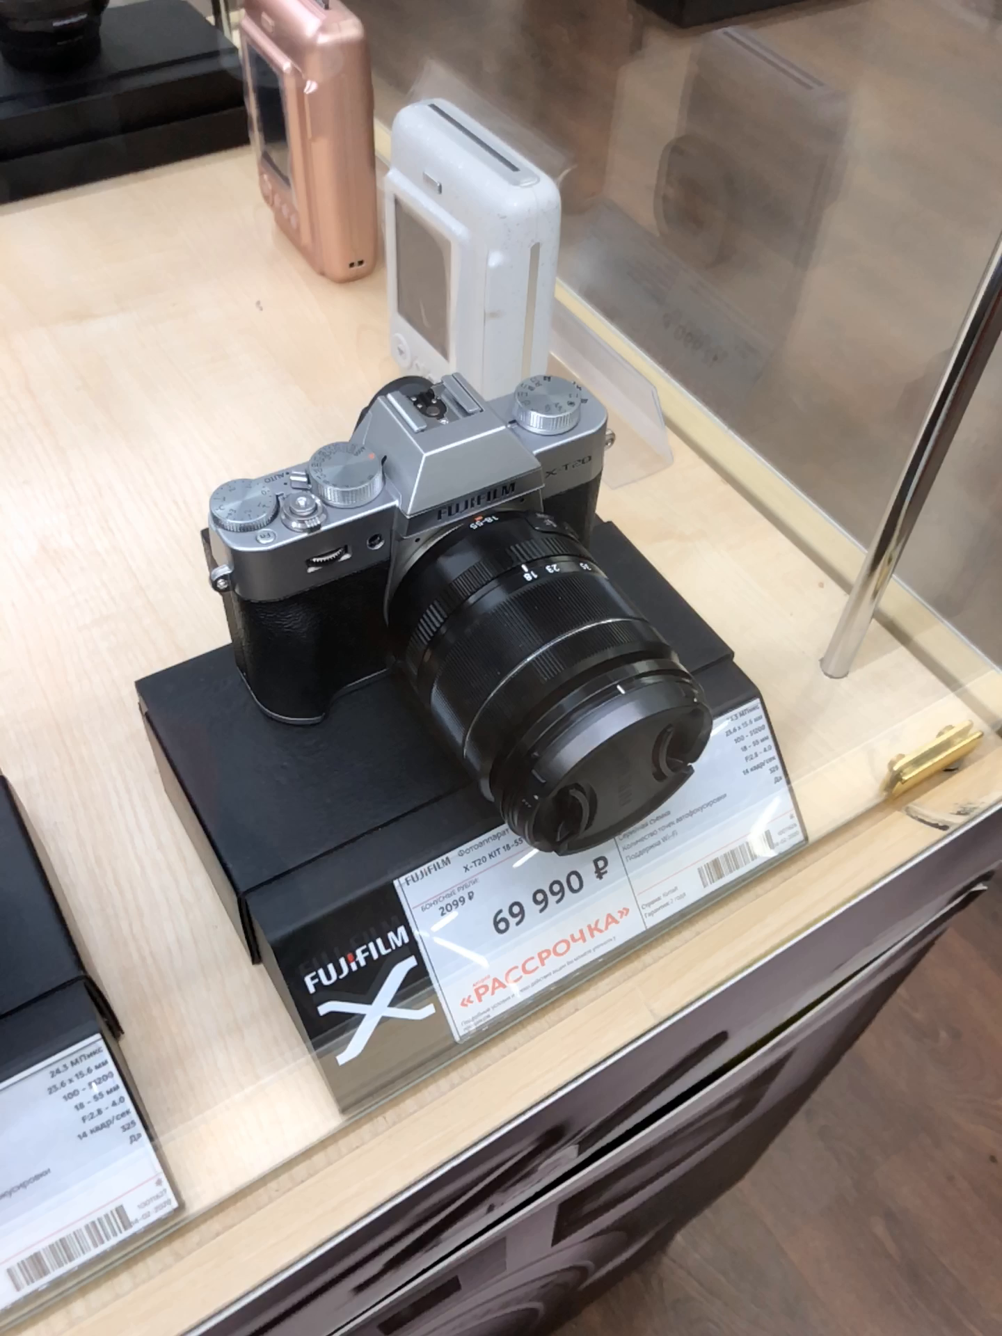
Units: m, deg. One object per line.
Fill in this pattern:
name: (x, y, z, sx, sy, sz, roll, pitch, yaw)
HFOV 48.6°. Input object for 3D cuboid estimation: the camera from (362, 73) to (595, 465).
camera: (-0.013, -0.157, 0.442, 0.039, 0.110, 0.094, -26, 57, -23)

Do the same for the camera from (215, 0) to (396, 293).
camera: (-0.091, -0.263, 0.531, 0.043, 0.118, 0.101, -20, 55, -19)

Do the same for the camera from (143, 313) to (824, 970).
camera: (-0.011, -0.015, 0.309, 0.124, 0.080, 0.130, -22, 56, -20)
